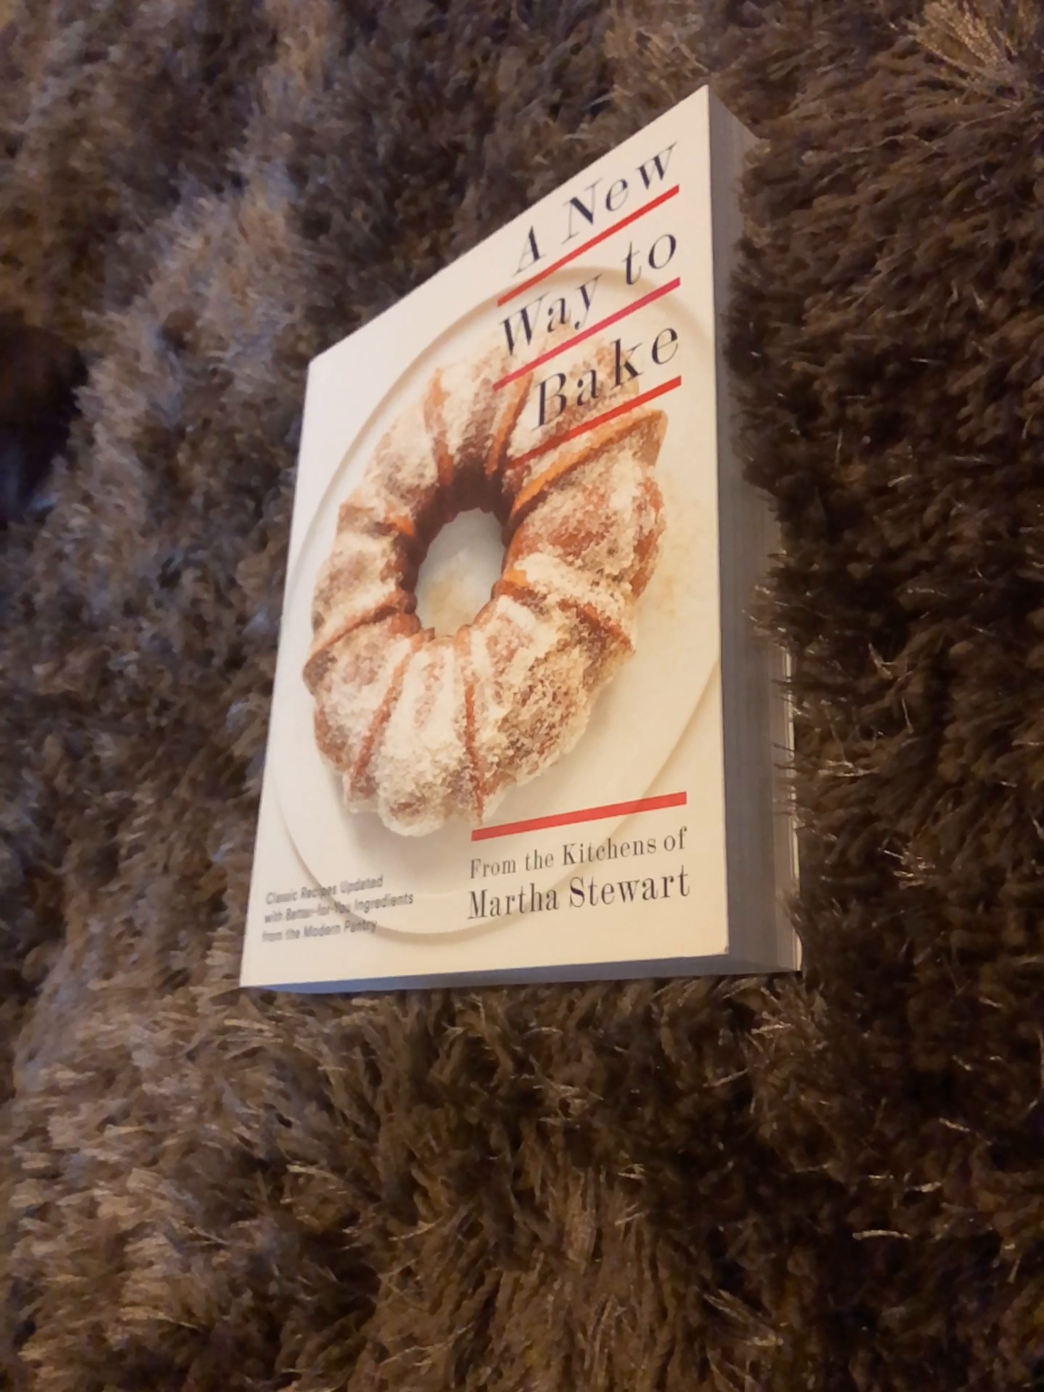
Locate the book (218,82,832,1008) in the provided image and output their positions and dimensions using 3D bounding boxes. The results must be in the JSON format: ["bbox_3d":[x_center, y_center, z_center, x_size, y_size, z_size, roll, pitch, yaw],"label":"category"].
[{"bbox_3d":[-0.009,-0.029,0.350,0.193,0.040,0.229,-17,63,43],"label":"book"}]
